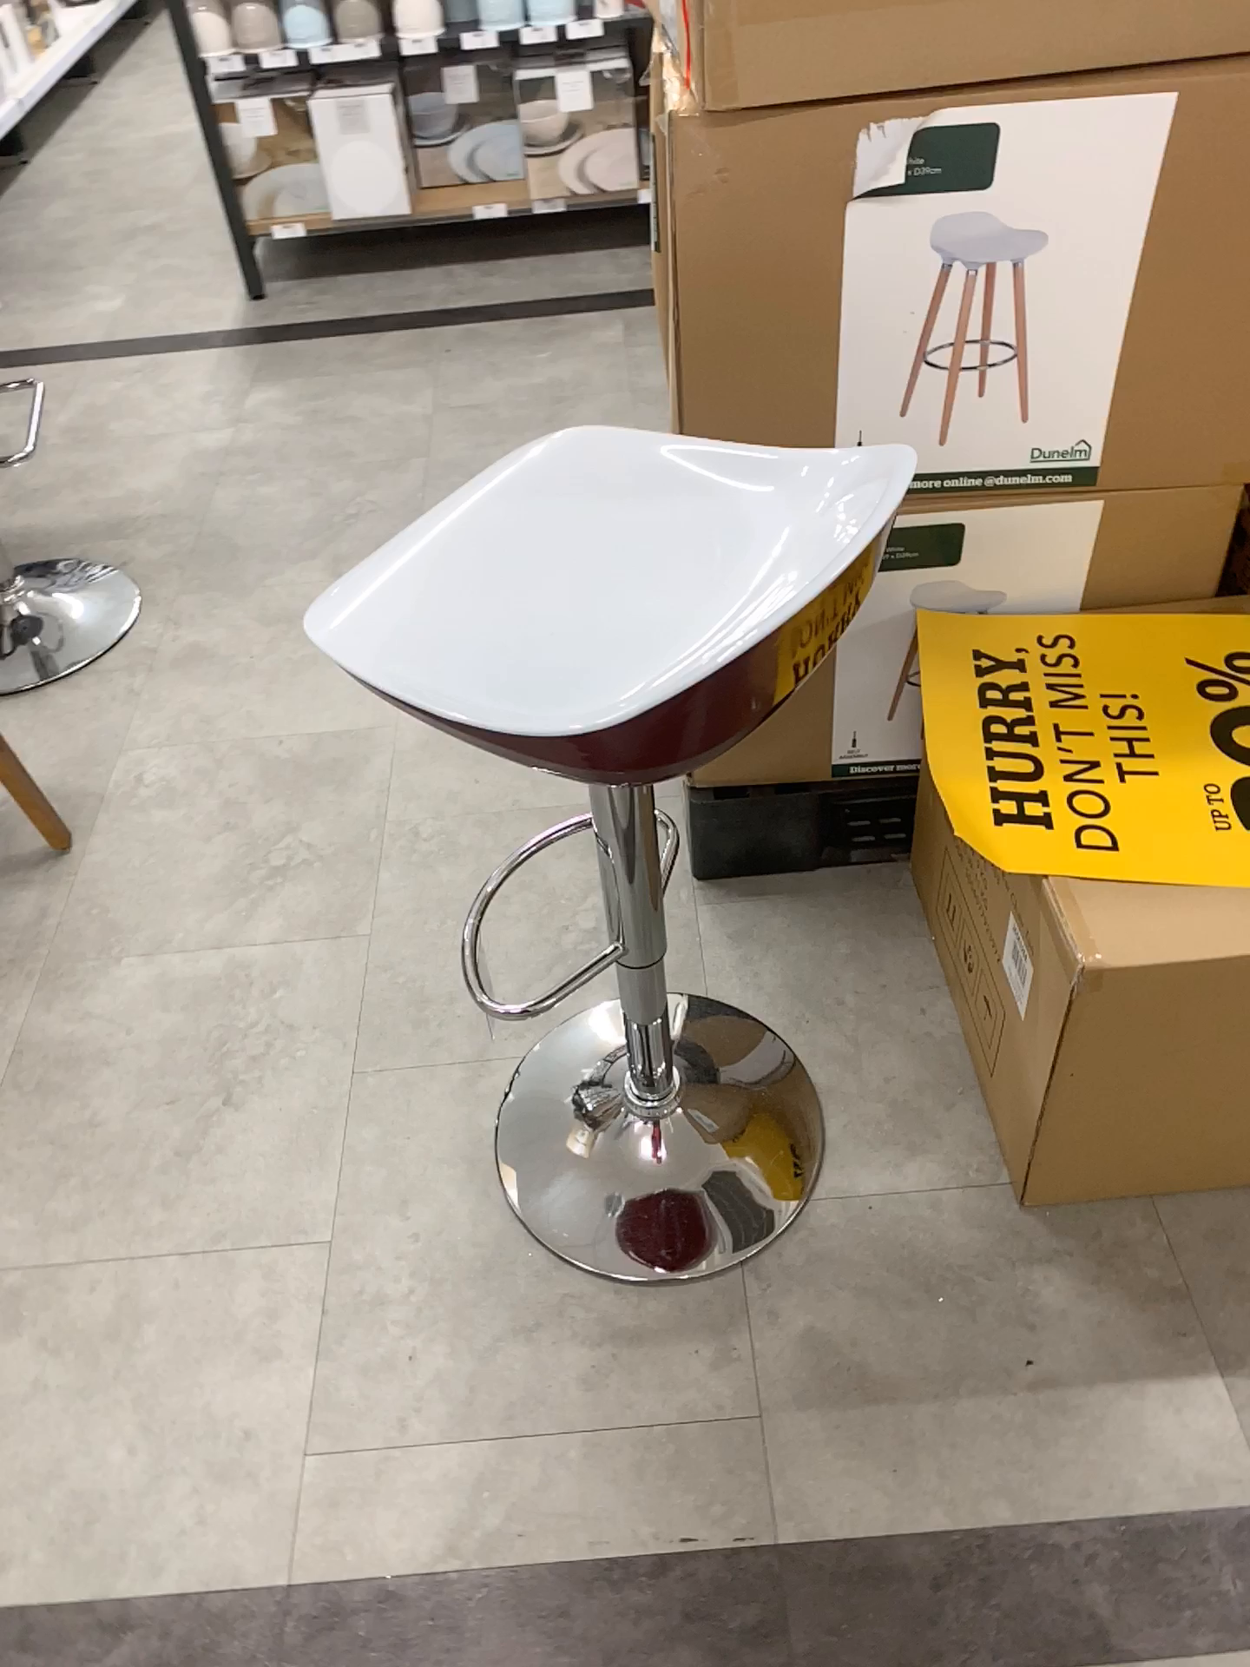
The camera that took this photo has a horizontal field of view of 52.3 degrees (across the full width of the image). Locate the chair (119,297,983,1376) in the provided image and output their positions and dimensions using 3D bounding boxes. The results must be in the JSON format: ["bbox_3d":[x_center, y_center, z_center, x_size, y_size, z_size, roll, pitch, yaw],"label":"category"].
[{"bbox_3d":[-0.009,0.024,1.160,0.435,0.792,0.438,21,50,26],"label":"chair"}]
